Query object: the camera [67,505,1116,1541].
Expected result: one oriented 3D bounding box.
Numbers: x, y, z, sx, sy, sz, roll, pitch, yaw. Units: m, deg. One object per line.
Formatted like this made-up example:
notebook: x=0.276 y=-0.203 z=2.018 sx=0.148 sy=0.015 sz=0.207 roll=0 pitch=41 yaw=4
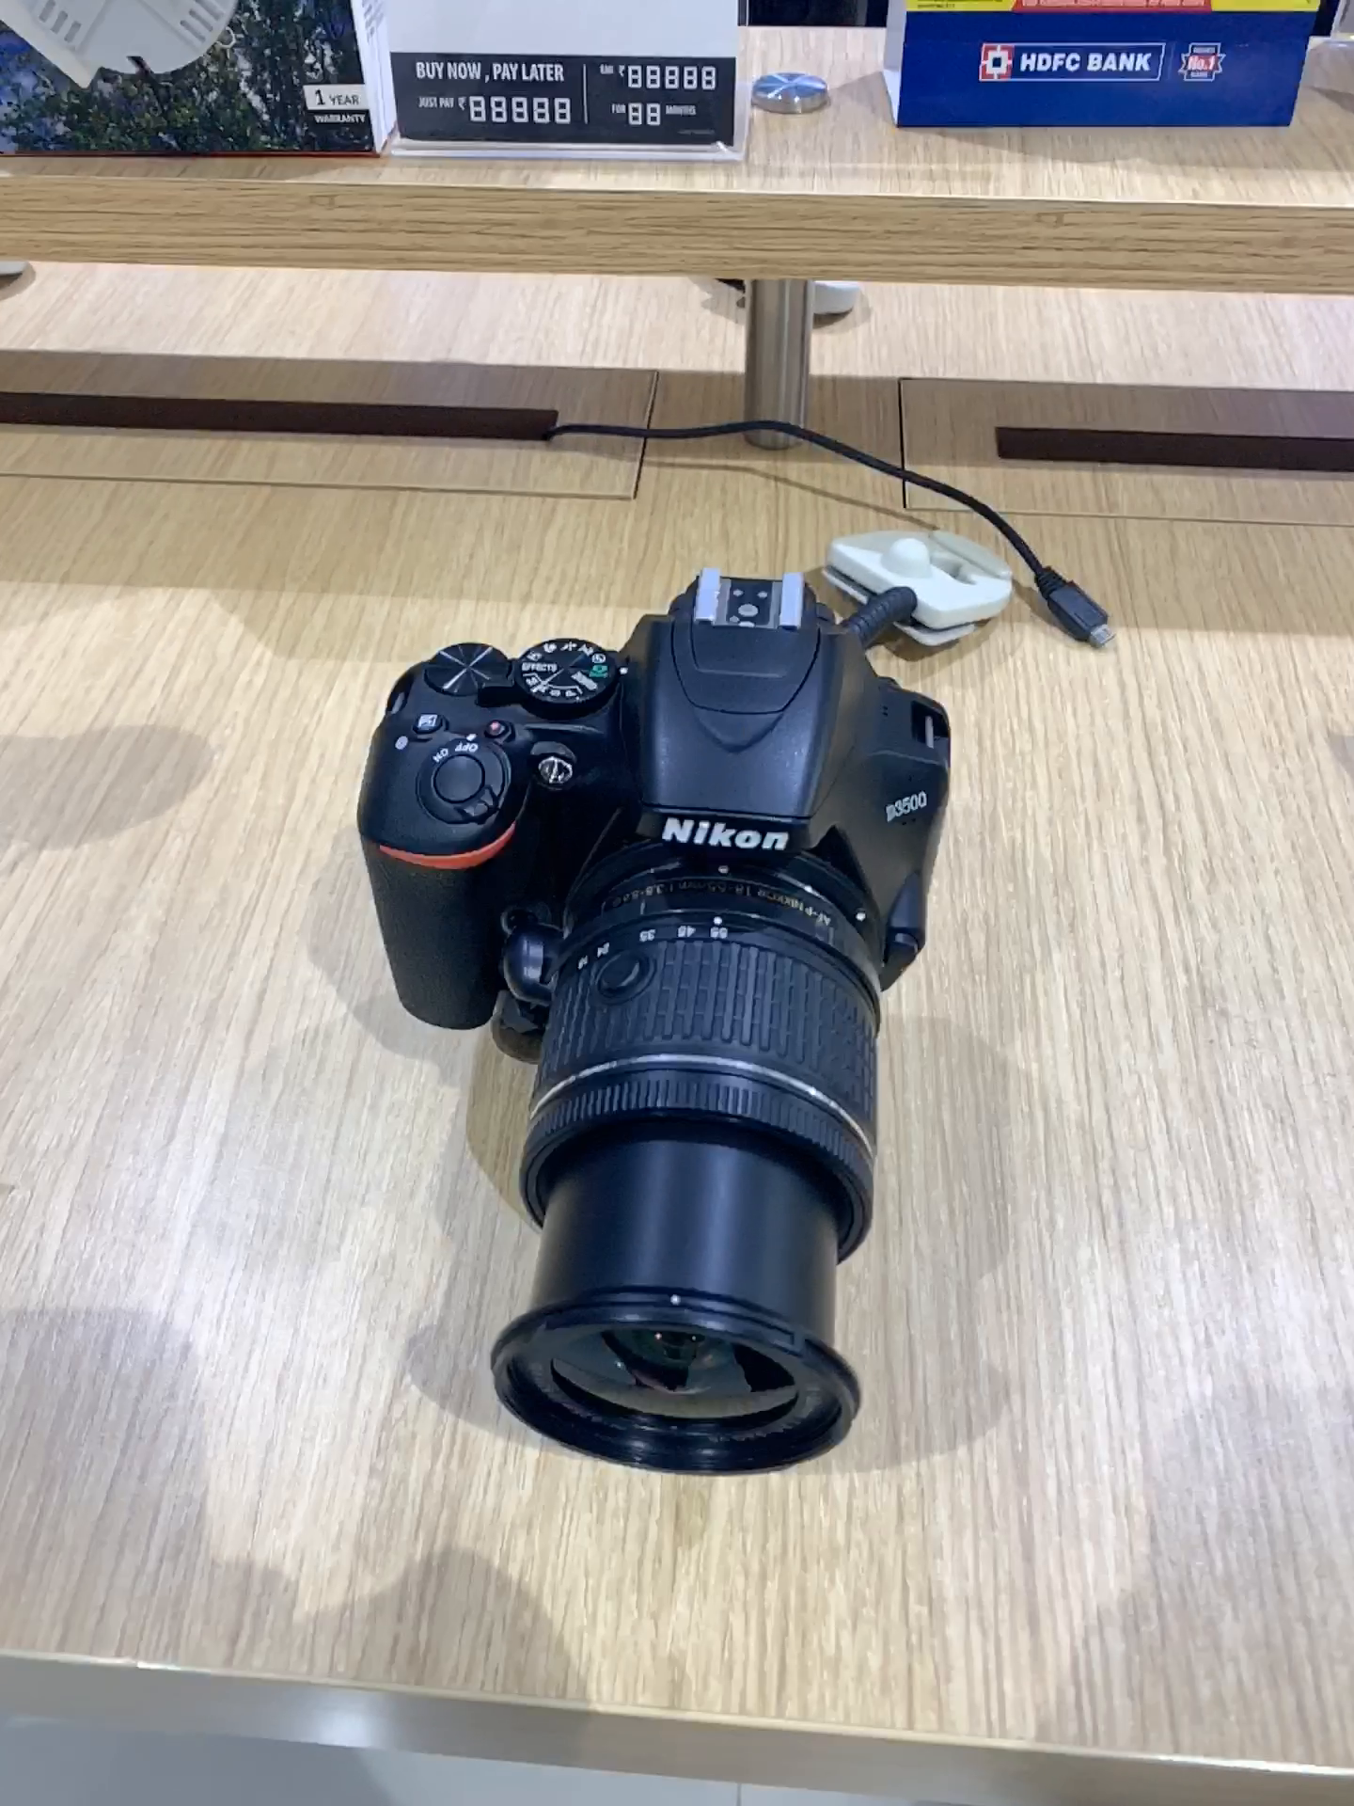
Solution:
camera: x=-0.006 y=0.016 z=0.235 sx=0.115 sy=0.100 sz=0.136 roll=2 pitch=49 yaw=3
